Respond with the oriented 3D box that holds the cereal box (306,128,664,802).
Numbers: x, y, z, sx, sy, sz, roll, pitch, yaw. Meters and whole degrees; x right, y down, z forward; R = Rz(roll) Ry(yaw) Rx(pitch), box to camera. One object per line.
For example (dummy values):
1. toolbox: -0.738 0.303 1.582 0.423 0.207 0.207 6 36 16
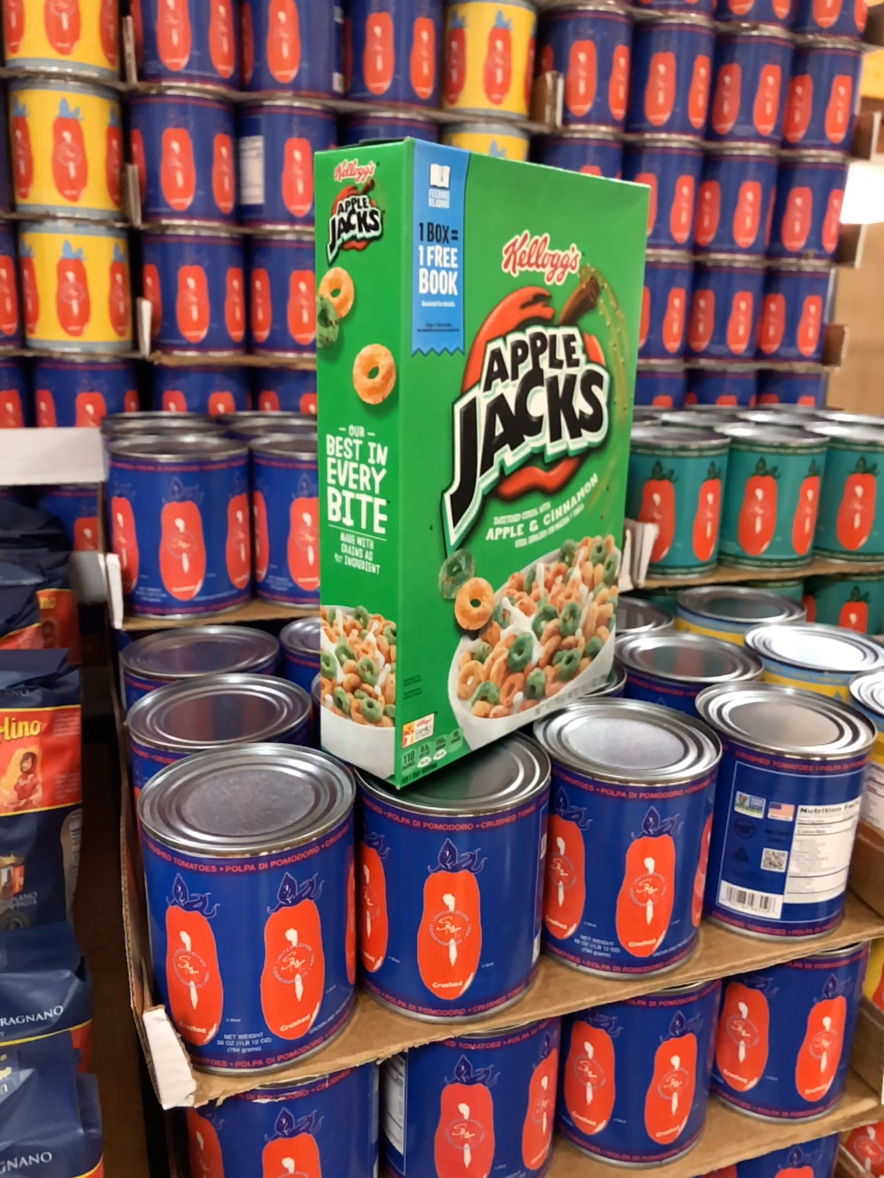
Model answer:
1. cereal box: 0.025 -0.065 0.509 0.060 0.289 0.201 15 20 39
